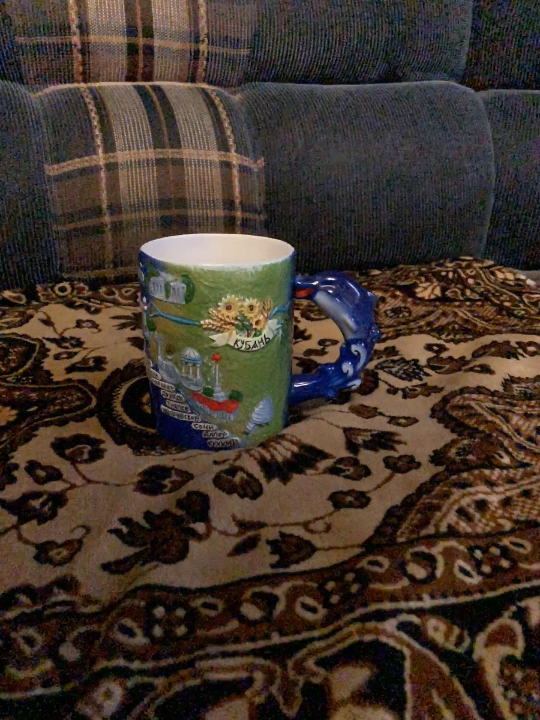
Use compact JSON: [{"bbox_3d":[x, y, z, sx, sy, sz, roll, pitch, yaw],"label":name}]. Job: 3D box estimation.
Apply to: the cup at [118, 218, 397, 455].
[{"bbox_3d":[-0.006,-0.018,0.317,0.127,0.105,0.090,1,23,1],"label":"cup"}]
